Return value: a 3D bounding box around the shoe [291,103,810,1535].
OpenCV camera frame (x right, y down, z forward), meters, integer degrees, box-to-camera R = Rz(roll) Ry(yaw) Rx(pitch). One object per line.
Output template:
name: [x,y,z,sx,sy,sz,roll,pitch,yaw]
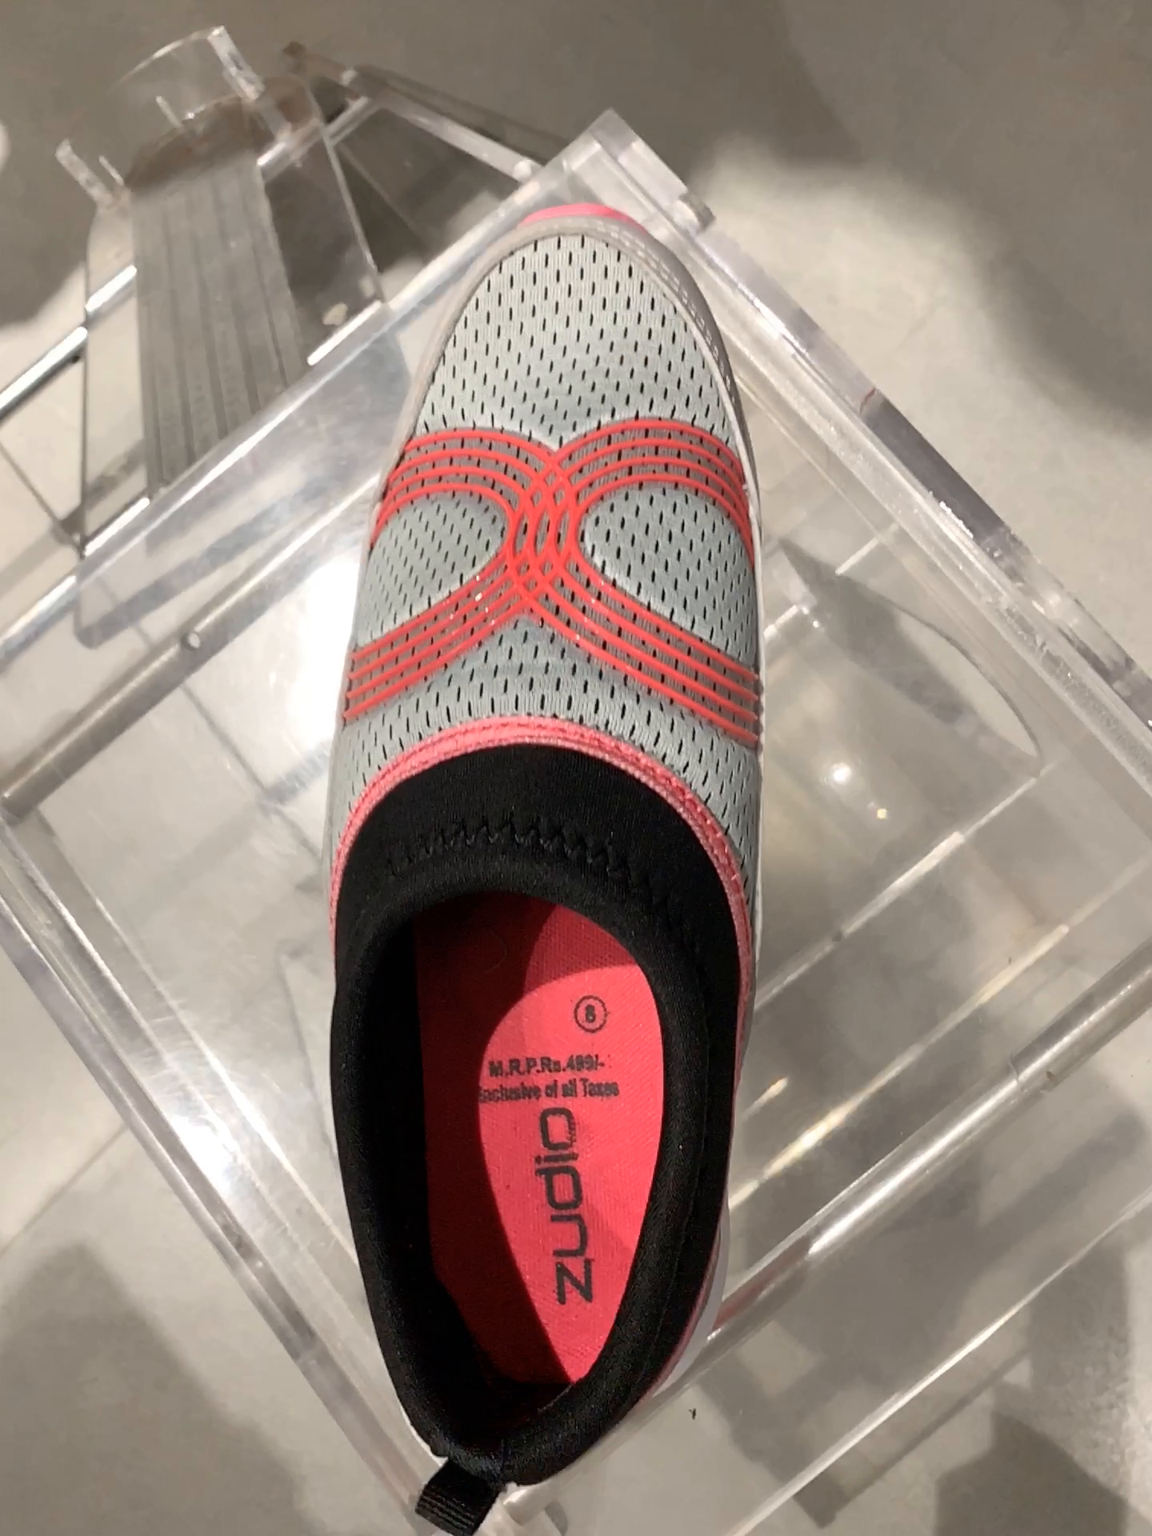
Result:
shoe: [-0.004,0.011,0.286,0.100,0.080,0.300,-1,83,6]
